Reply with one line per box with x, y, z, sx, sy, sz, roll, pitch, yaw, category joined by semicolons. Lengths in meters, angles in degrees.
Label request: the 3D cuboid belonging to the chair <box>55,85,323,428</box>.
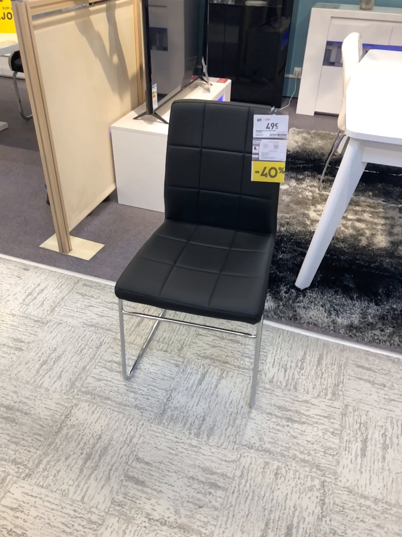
0.017;-0.065;1.407;0.550;0.795;0.634;11;37;12;chair
